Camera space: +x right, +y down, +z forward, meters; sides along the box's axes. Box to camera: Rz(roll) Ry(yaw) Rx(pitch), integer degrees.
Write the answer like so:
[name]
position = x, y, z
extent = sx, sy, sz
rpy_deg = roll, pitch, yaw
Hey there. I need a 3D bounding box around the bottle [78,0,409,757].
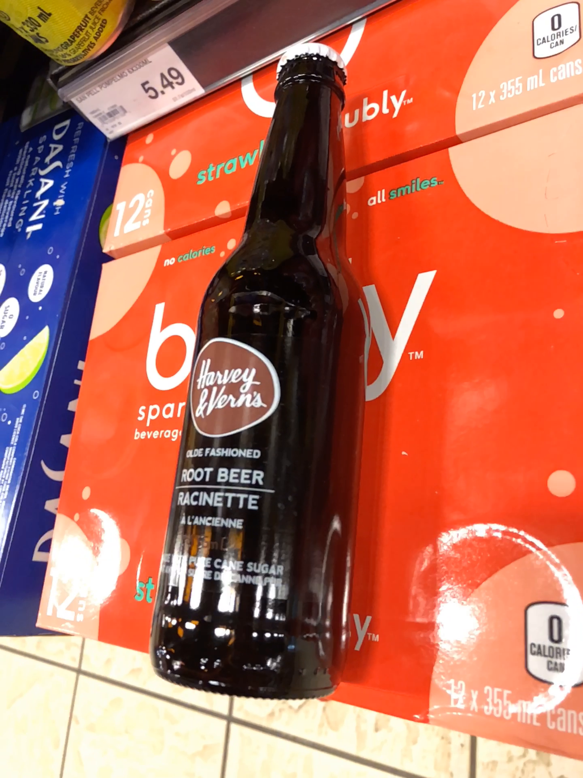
[bottle]
position = -0.007, -0.015, 0.222
extent = 0.060, 0.070, 0.230
rpy_deg = -7, 72, 37
